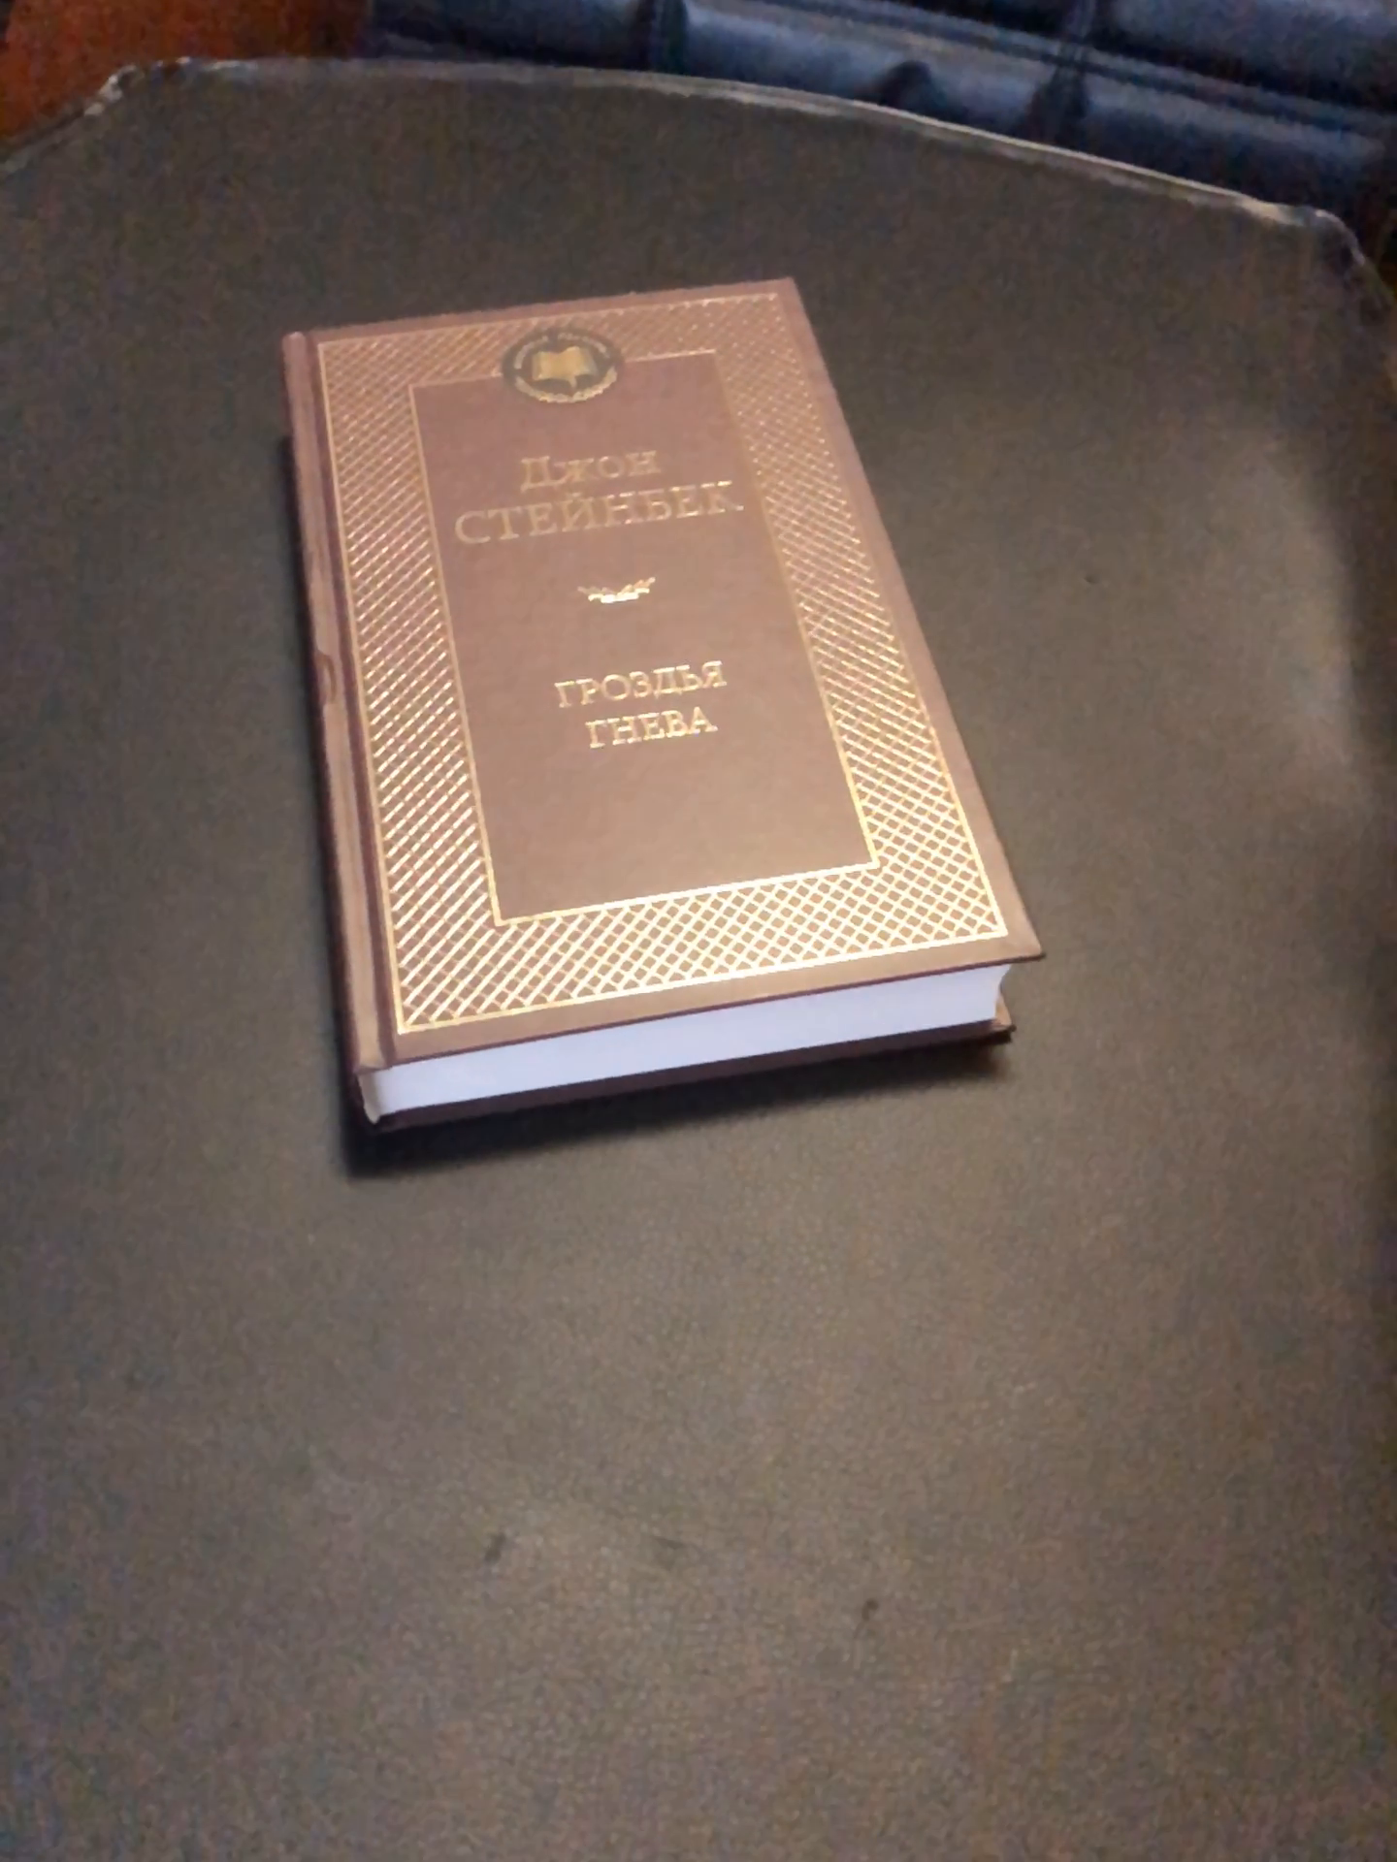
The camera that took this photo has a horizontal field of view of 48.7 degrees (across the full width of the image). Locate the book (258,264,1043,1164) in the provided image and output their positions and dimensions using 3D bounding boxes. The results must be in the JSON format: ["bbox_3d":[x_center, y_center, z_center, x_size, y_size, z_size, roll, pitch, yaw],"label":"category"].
[{"bbox_3d":[-0.021,-0.060,0.341,0.130,0.040,0.200,-9,60,-7],"label":"book"}]
